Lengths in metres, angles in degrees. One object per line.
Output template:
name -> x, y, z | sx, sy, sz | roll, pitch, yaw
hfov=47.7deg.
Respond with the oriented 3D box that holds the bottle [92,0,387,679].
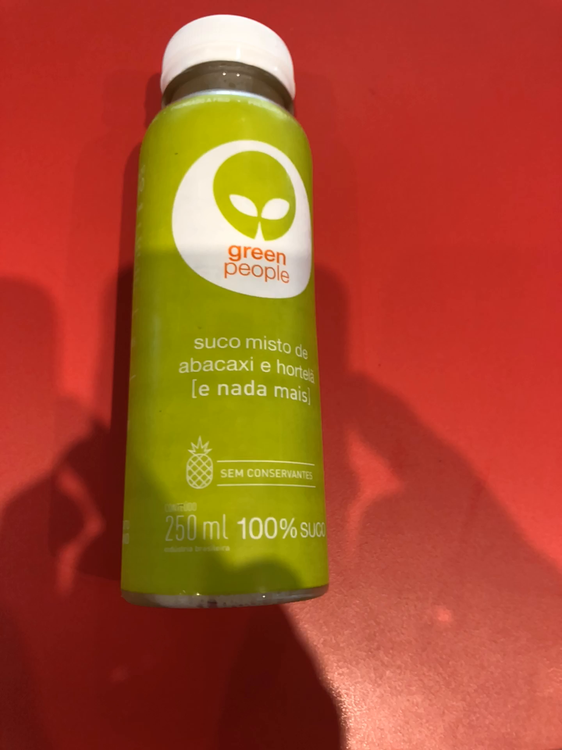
bottle -> -0.014, -0.021, 0.170 | 0.060, 0.050, 0.170 | 3, 80, -22
